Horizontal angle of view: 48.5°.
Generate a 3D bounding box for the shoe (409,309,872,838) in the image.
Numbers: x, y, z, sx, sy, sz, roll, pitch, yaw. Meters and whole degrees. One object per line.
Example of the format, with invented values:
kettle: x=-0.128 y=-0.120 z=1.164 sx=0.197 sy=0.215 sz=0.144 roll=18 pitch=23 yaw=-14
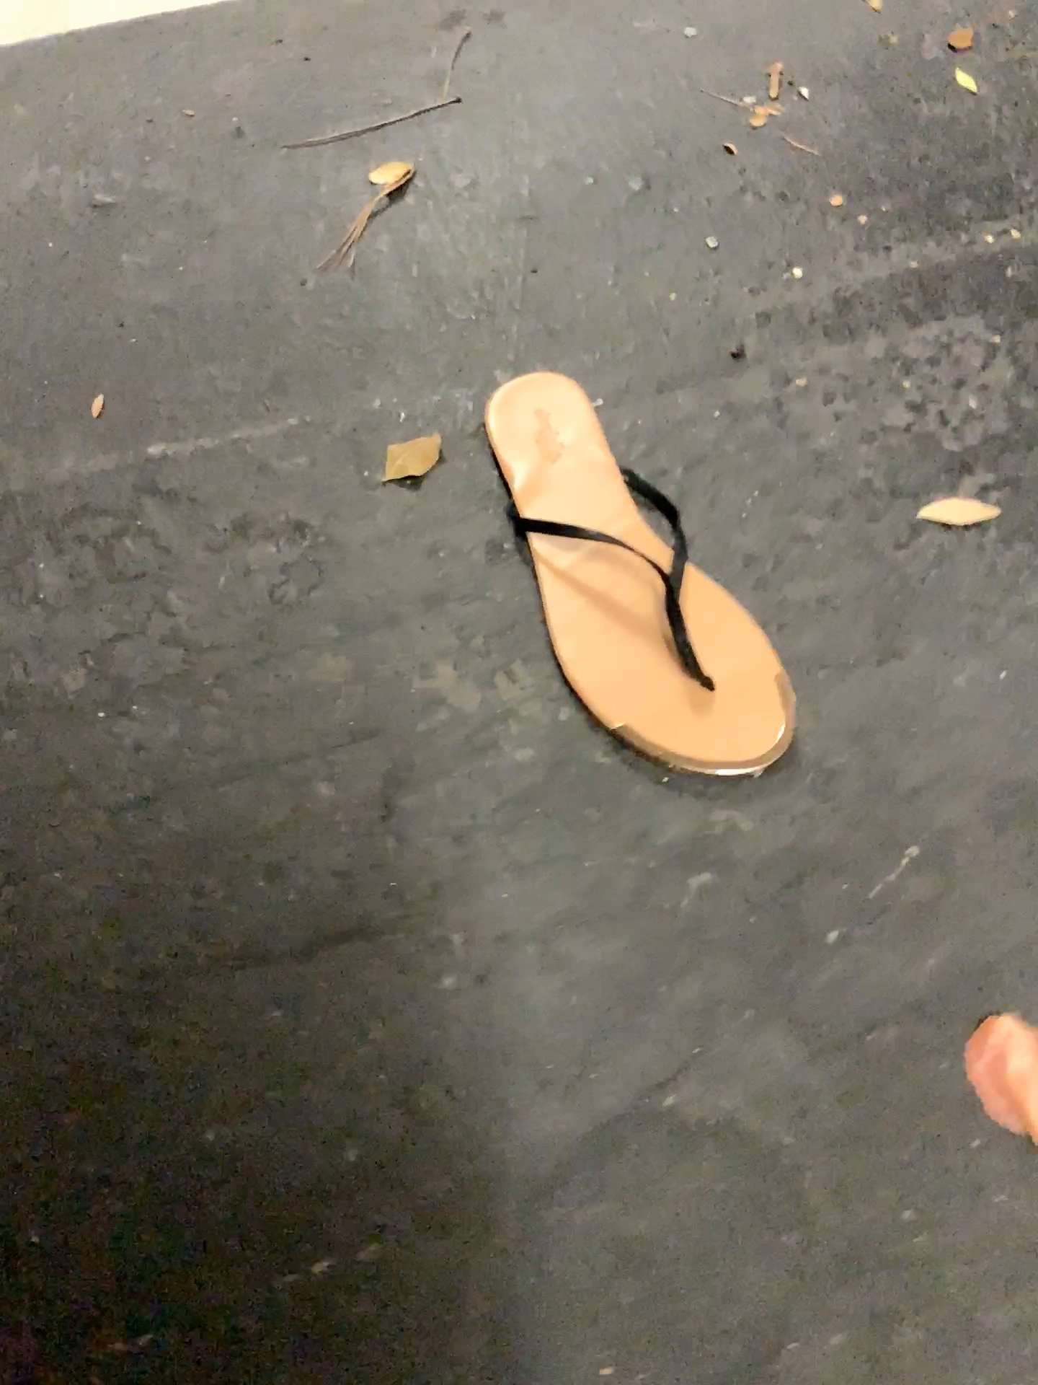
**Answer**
shoe: x=0.050 y=-0.076 z=0.591 sx=0.110 sy=0.030 sz=0.290 roll=-25 pitch=61 yaw=-6
